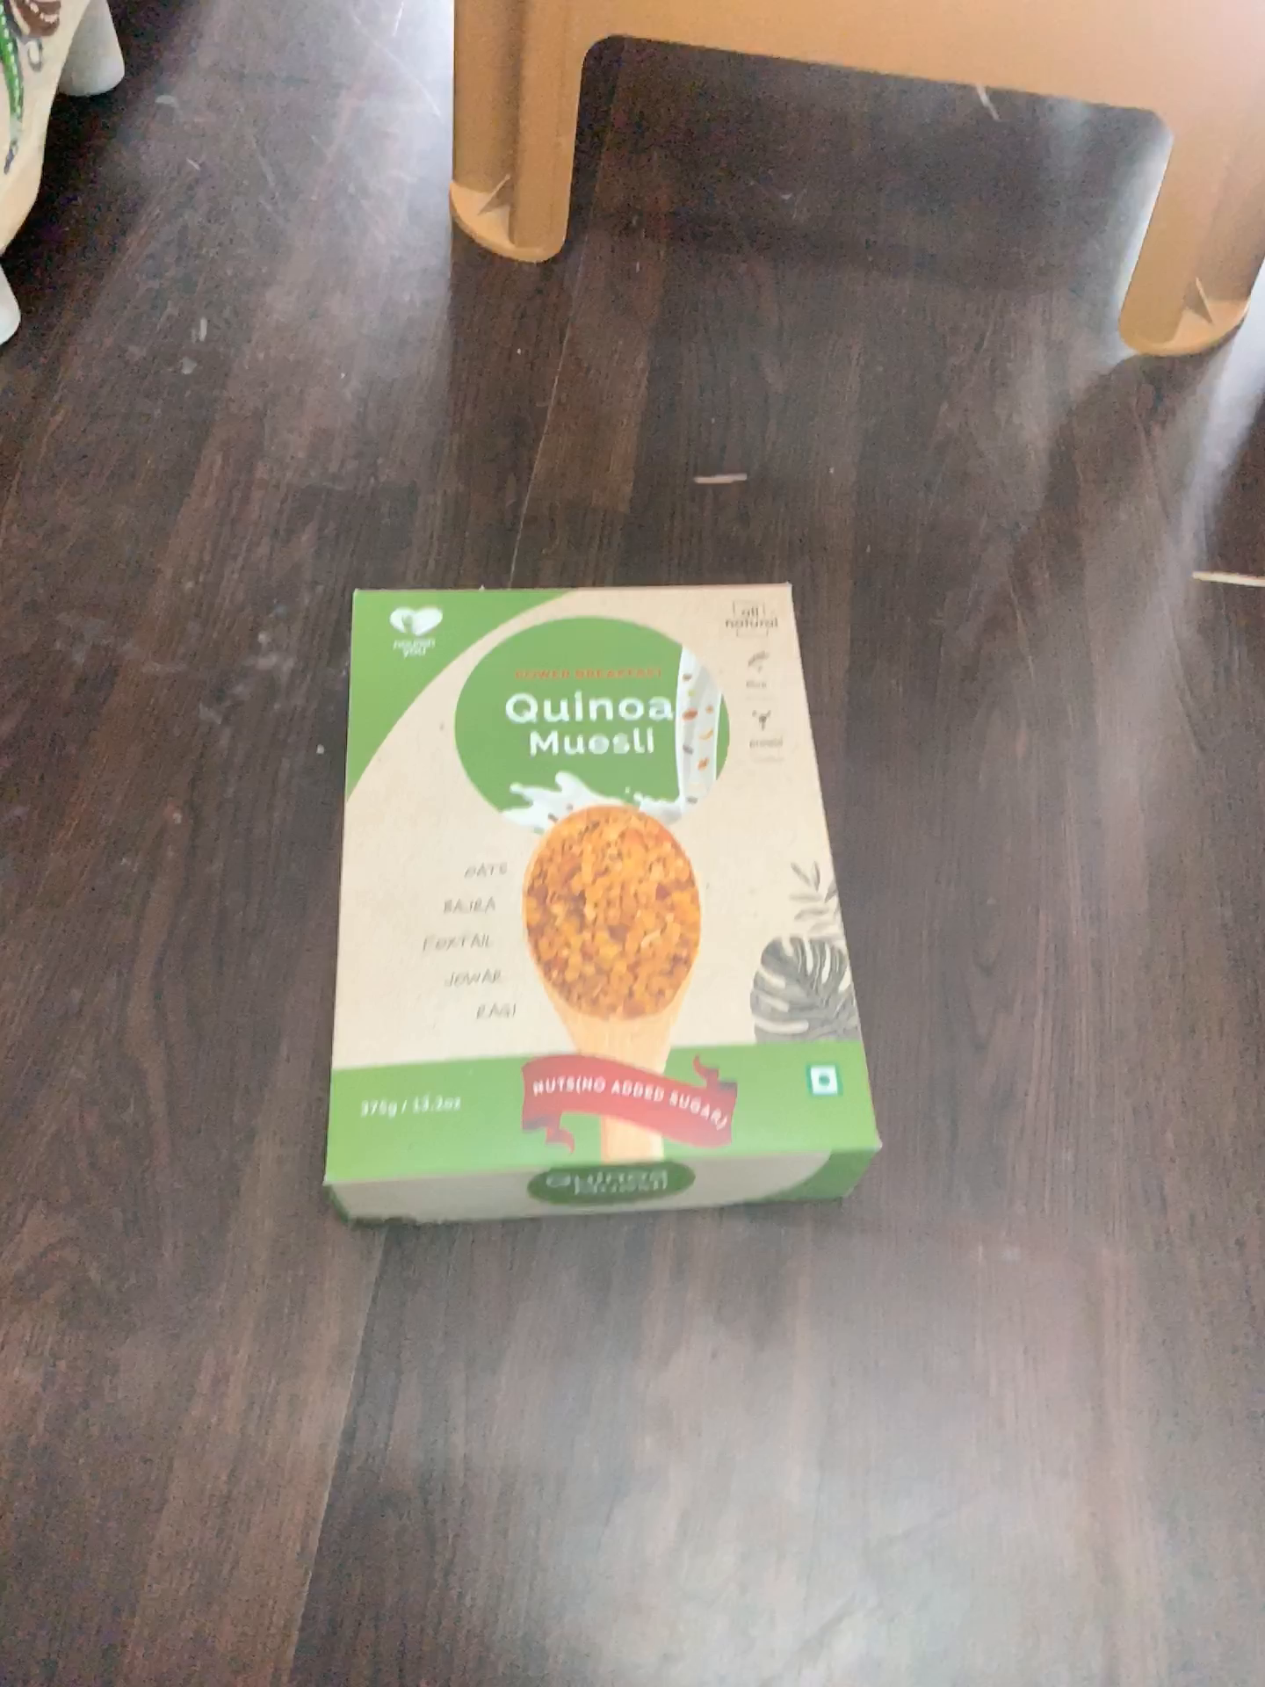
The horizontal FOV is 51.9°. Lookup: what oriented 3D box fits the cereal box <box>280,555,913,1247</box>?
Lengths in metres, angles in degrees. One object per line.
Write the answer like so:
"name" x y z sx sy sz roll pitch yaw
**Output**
"cereal box" -0.016 0.013 0.427 0.170 0.070 0.210 -2 63 -3
